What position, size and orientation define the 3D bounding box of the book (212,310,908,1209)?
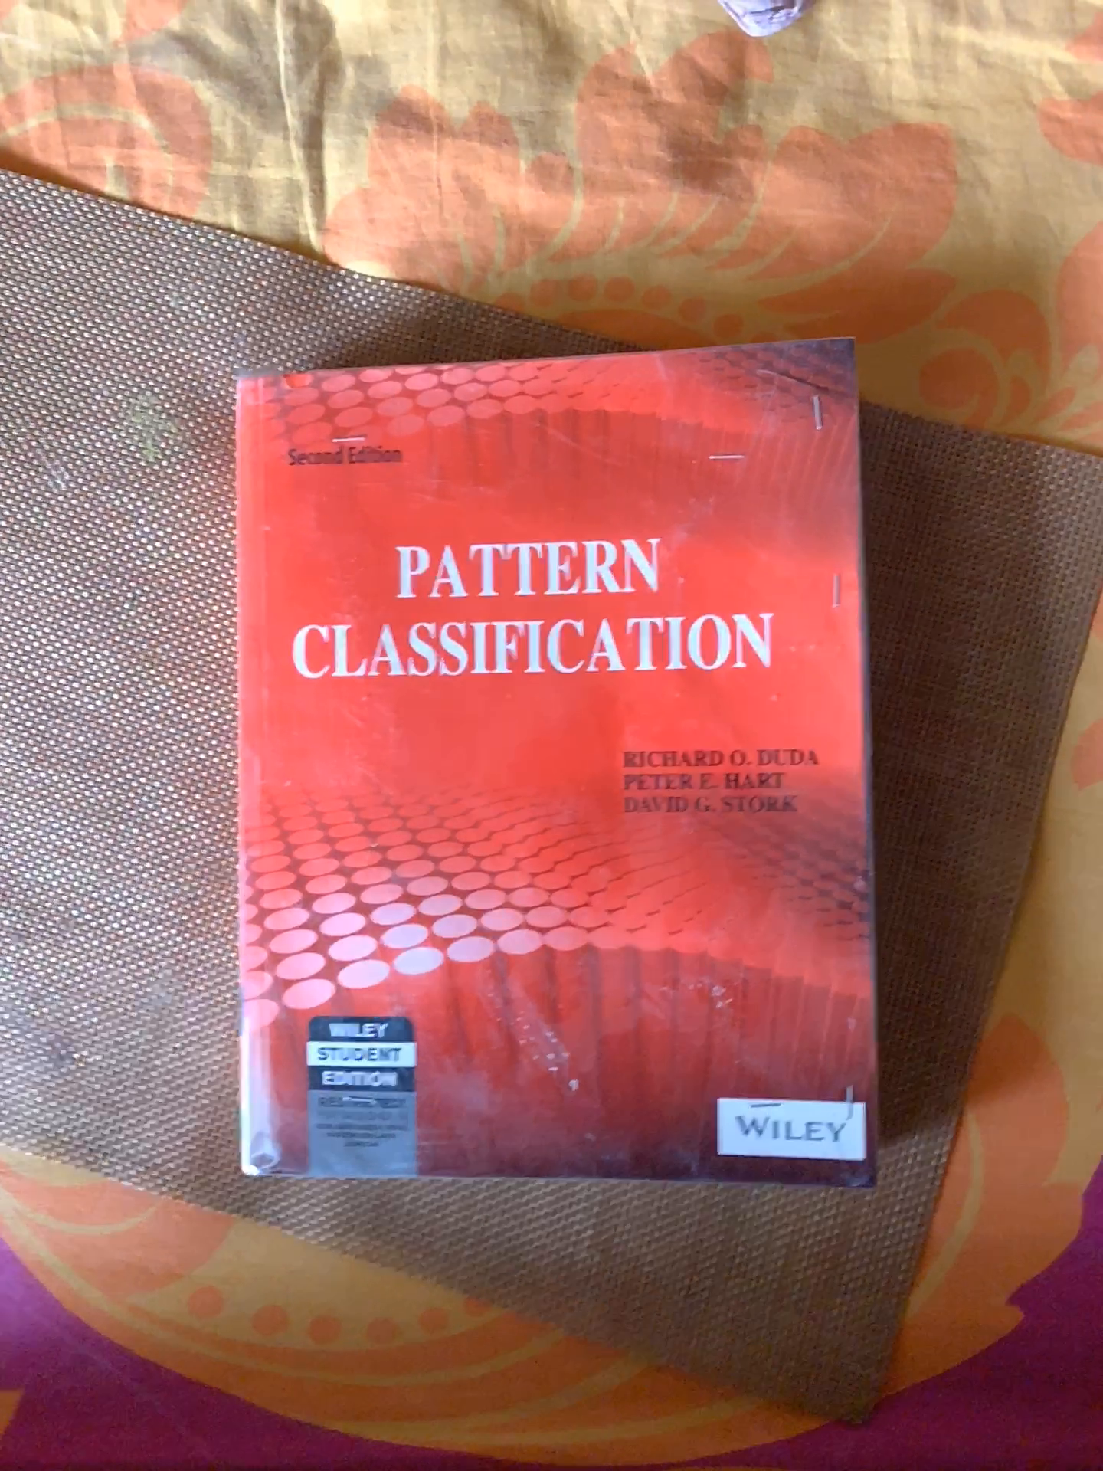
[{"bbox_3d":[0.001,0.006,0.318,0.180,0.040,0.230,0,88,4],"label":"book"}]
